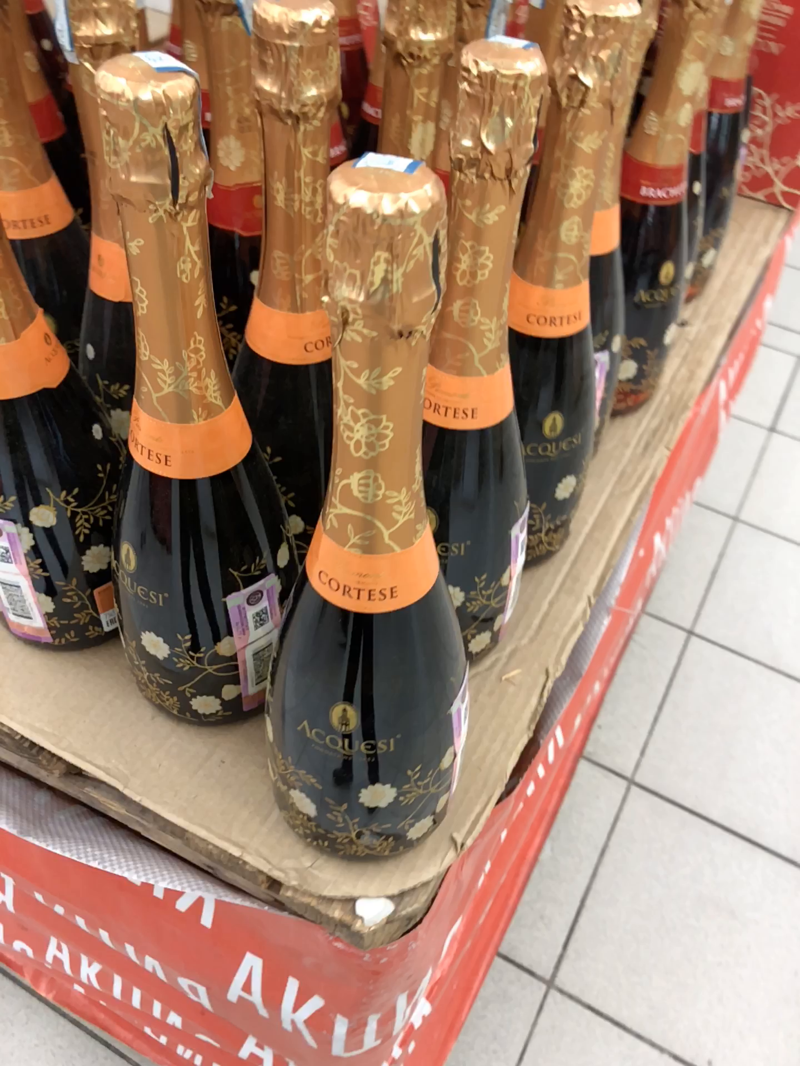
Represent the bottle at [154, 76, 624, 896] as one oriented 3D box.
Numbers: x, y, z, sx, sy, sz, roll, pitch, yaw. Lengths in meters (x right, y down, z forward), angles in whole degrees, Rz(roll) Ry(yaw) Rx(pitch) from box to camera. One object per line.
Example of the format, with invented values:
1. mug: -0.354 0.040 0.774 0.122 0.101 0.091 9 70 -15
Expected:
1. bottle: -0.006 0.016 0.344 0.100 0.318 0.101 3 46 -3
